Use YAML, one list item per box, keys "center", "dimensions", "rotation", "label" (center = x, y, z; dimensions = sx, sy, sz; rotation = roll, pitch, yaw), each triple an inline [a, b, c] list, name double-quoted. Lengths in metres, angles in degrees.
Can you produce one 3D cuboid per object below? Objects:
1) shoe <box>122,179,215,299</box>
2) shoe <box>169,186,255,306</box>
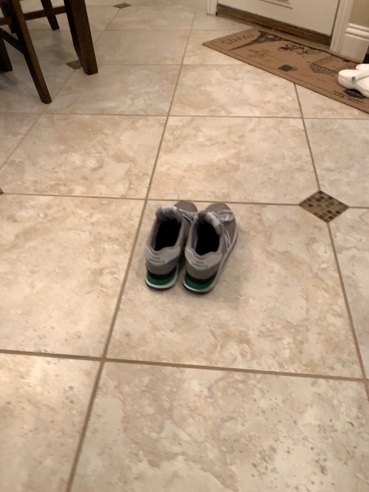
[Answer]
- center: [-0.026, -0.028, 0.916]
  dimensions: [0.115, 0.103, 0.285]
  rotation: [15, 48, 16]
  label: "shoe"
- center: [0.073, -0.010, 0.902]
  dimensions: [0.115, 0.103, 0.275]
  rotation: [15, 48, 16]
  label: "shoe"
